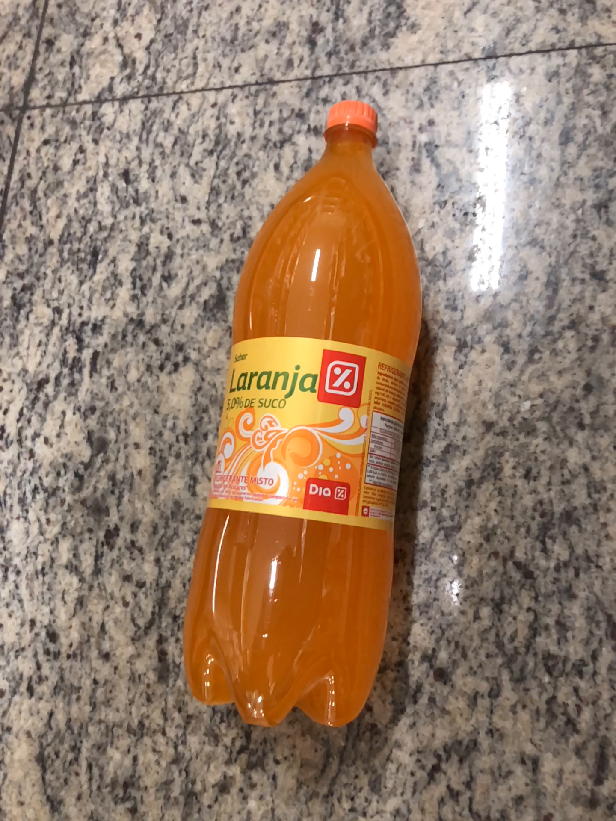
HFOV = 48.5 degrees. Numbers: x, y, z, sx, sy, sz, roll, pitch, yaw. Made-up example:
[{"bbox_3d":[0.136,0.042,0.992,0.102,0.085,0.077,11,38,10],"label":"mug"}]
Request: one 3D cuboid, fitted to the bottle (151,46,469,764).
[{"bbox_3d":[0.013,-0.016,0.375,0.120,0.070,0.350,3,78,18],"label":"bottle"}]
